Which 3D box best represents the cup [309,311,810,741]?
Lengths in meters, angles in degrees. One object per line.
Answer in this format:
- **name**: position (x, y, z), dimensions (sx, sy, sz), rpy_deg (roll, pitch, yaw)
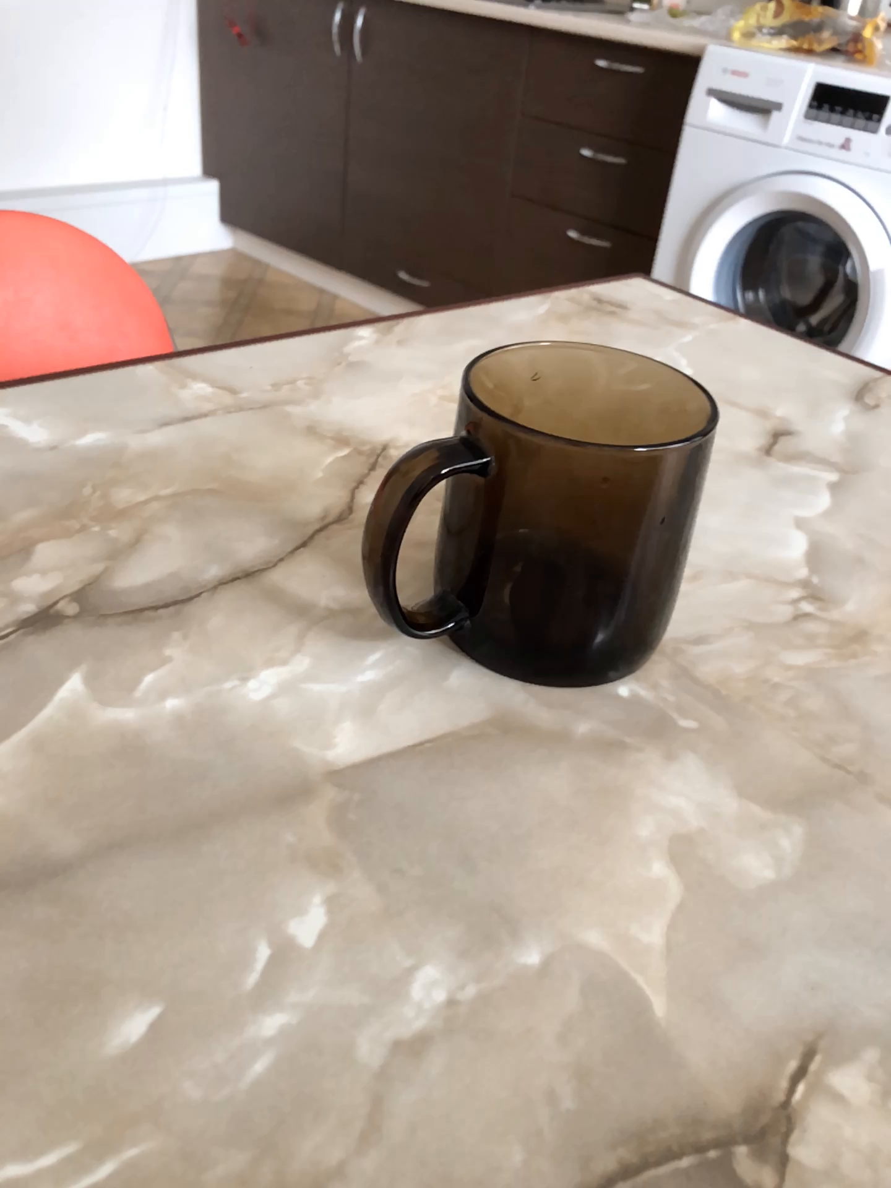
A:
- **cup**: position (0.030, -0.030, 0.325), dimensions (0.123, 0.090, 0.091), rpy_deg (-13, 38, -27)
